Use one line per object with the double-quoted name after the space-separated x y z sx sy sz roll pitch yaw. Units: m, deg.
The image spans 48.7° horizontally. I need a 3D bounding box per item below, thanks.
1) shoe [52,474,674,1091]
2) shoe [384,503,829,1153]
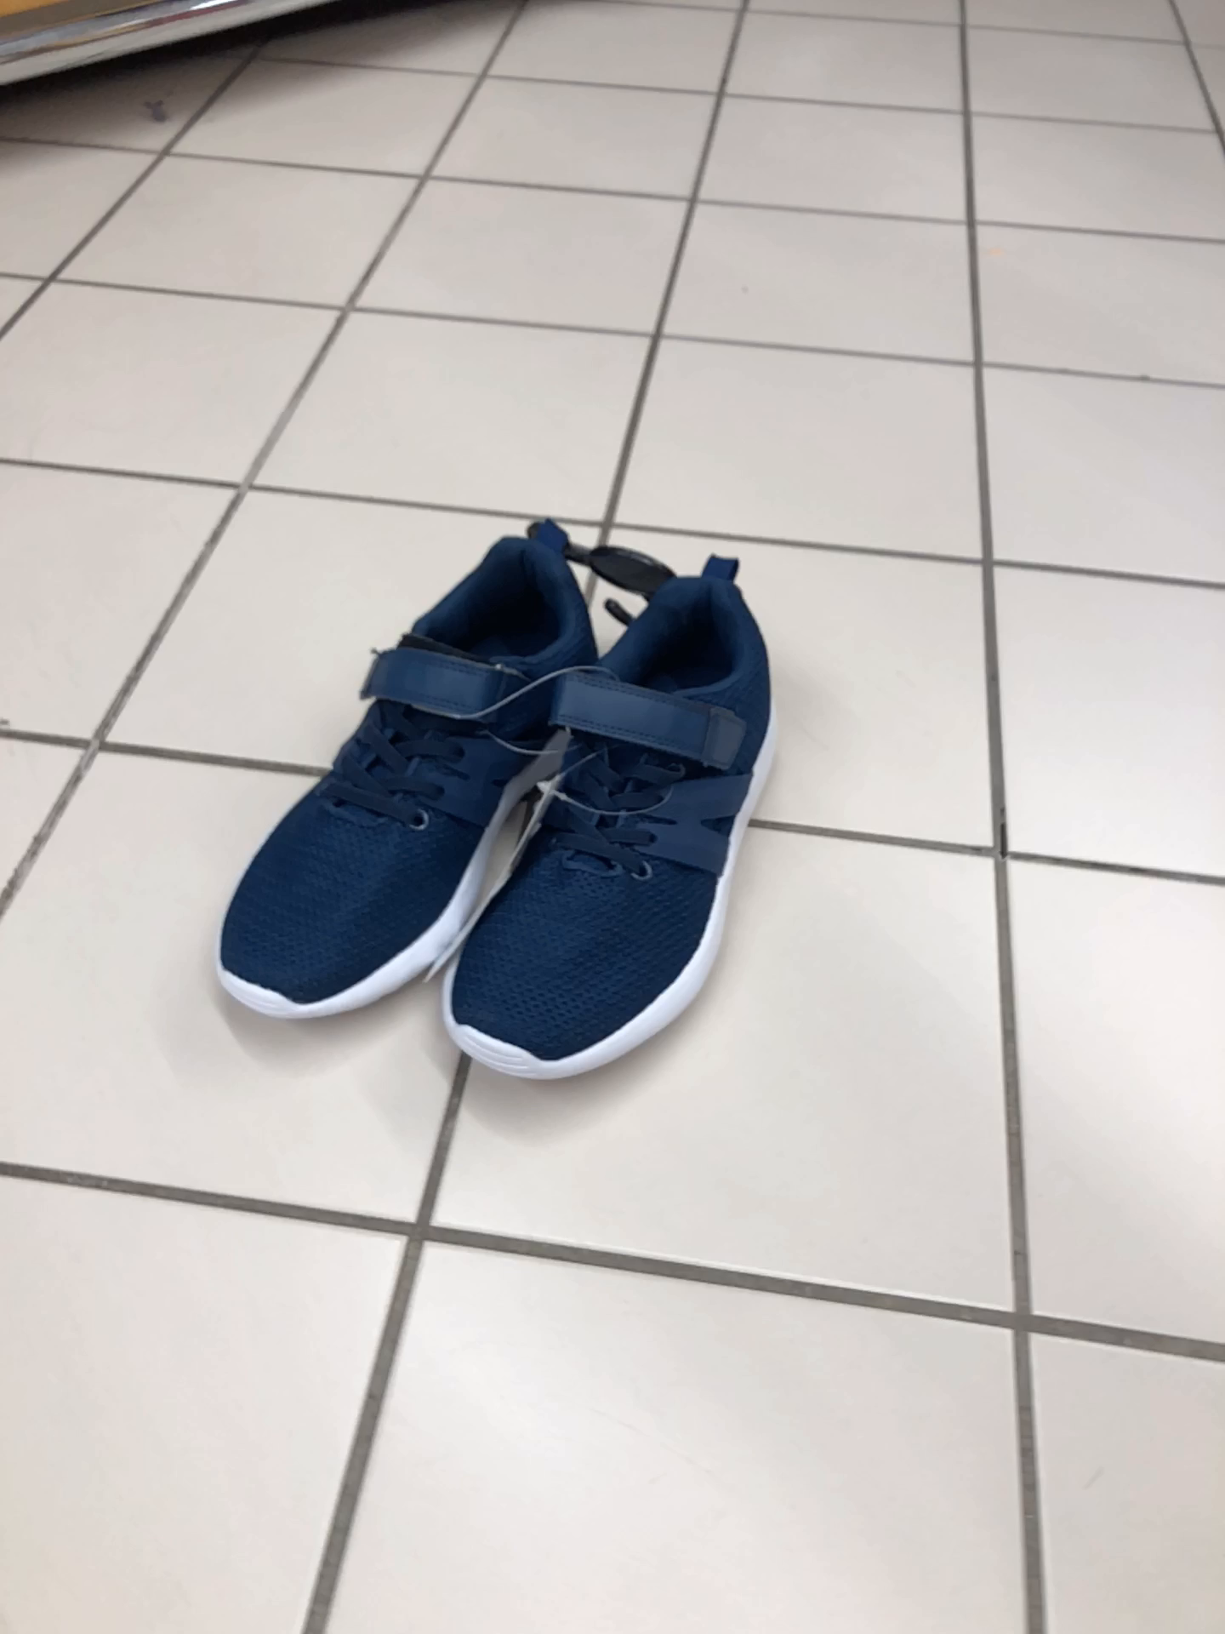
-0.083 -0.026 0.544 0.102 0.094 0.237 27 52 21 "shoe"
0.008 -0.008 0.529 0.093 0.095 0.239 14 49 11 "shoe"
